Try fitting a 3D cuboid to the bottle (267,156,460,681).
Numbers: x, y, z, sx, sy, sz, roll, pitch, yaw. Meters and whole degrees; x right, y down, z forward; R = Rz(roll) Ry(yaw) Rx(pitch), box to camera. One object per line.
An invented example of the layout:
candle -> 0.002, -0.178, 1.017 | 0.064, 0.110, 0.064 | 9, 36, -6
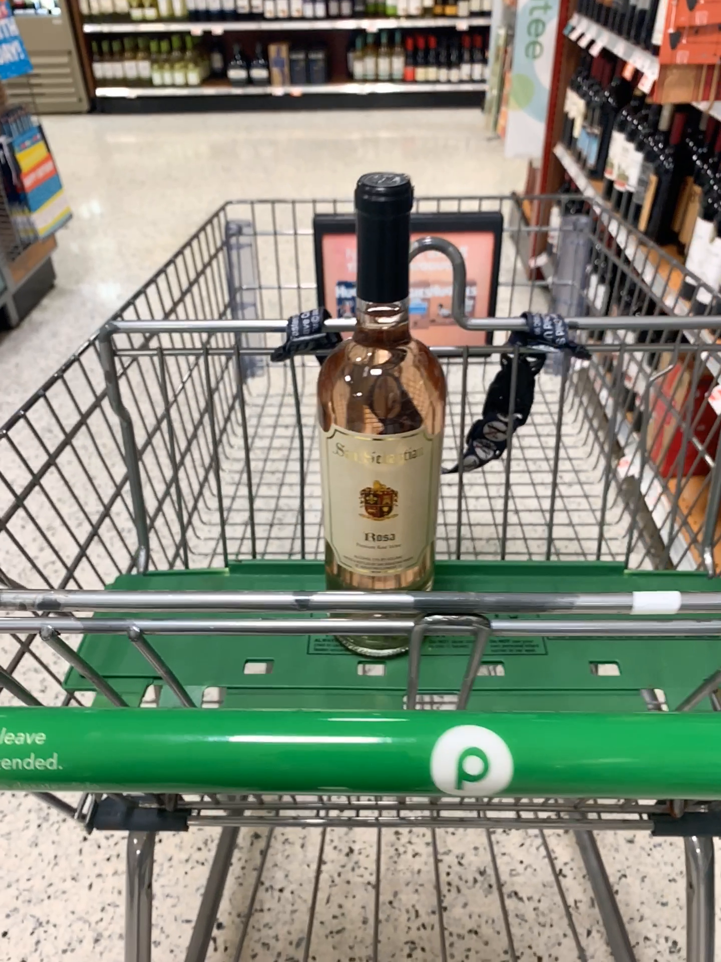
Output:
bottle -> 0.007, -0.017, 0.452 | 0.083, 0.315, 0.087 | -1, 36, 1
